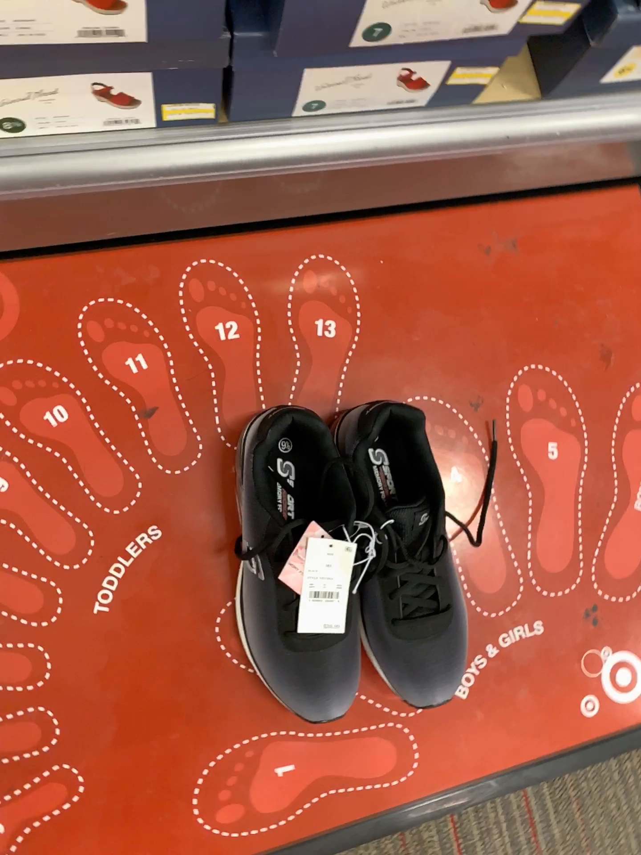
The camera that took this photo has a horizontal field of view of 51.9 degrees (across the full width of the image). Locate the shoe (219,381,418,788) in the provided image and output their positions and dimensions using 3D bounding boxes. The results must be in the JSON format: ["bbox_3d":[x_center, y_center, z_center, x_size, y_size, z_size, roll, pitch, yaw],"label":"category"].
[{"bbox_3d":[-0.009,0.106,0.499,0.100,0.100,0.260,-6,84,-13],"label":"shoe"}]

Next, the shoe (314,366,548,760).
[{"bbox_3d":[0.078,0.096,0.518,0.100,0.100,0.260,-10,85,-13],"label":"shoe"}]
